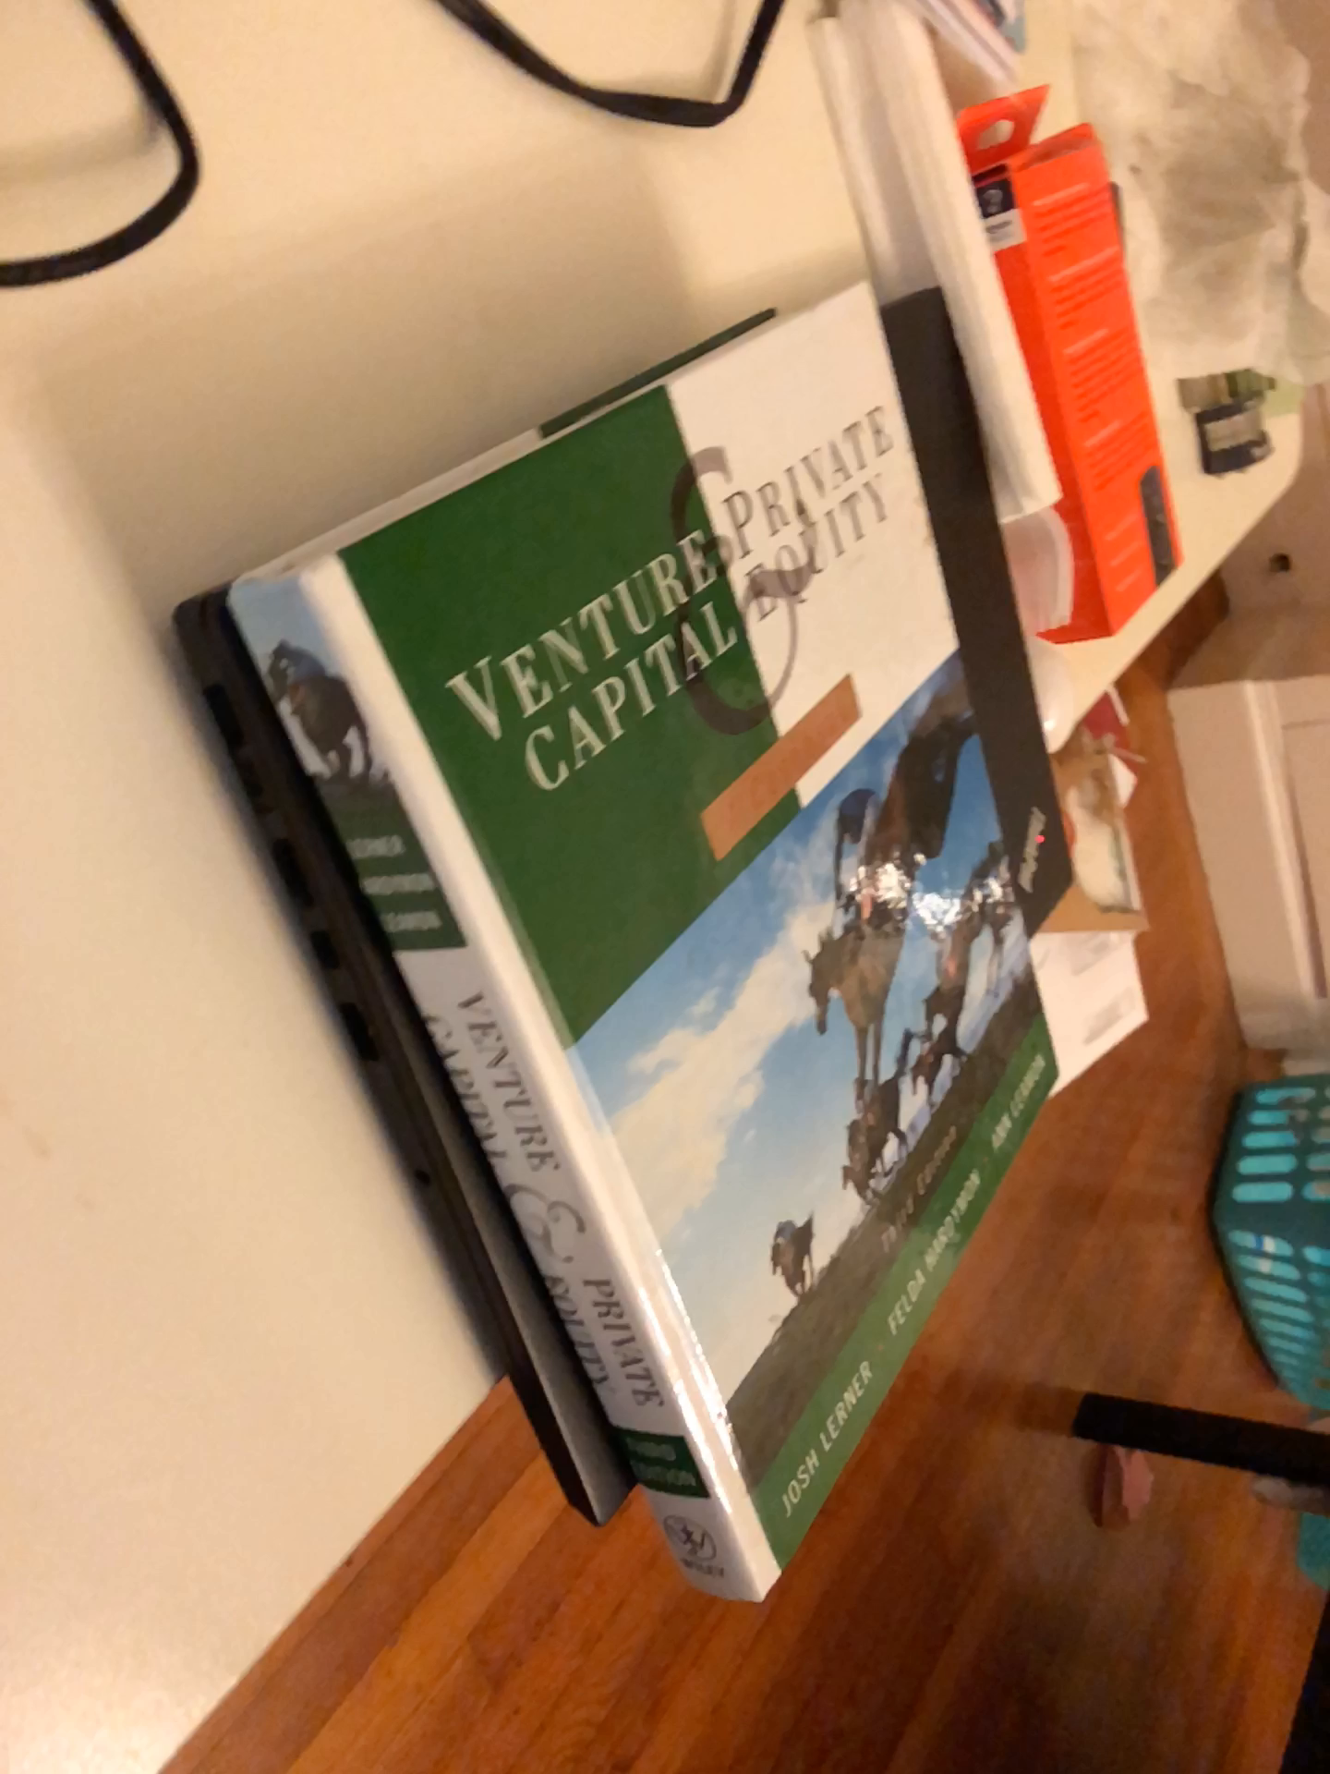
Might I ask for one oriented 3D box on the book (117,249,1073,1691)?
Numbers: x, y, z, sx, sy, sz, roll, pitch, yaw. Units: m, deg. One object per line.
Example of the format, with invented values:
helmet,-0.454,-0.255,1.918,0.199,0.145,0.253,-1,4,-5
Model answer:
book,0.022,0.007,0.362,0.221,0.030,0.270,-44,122,-45
